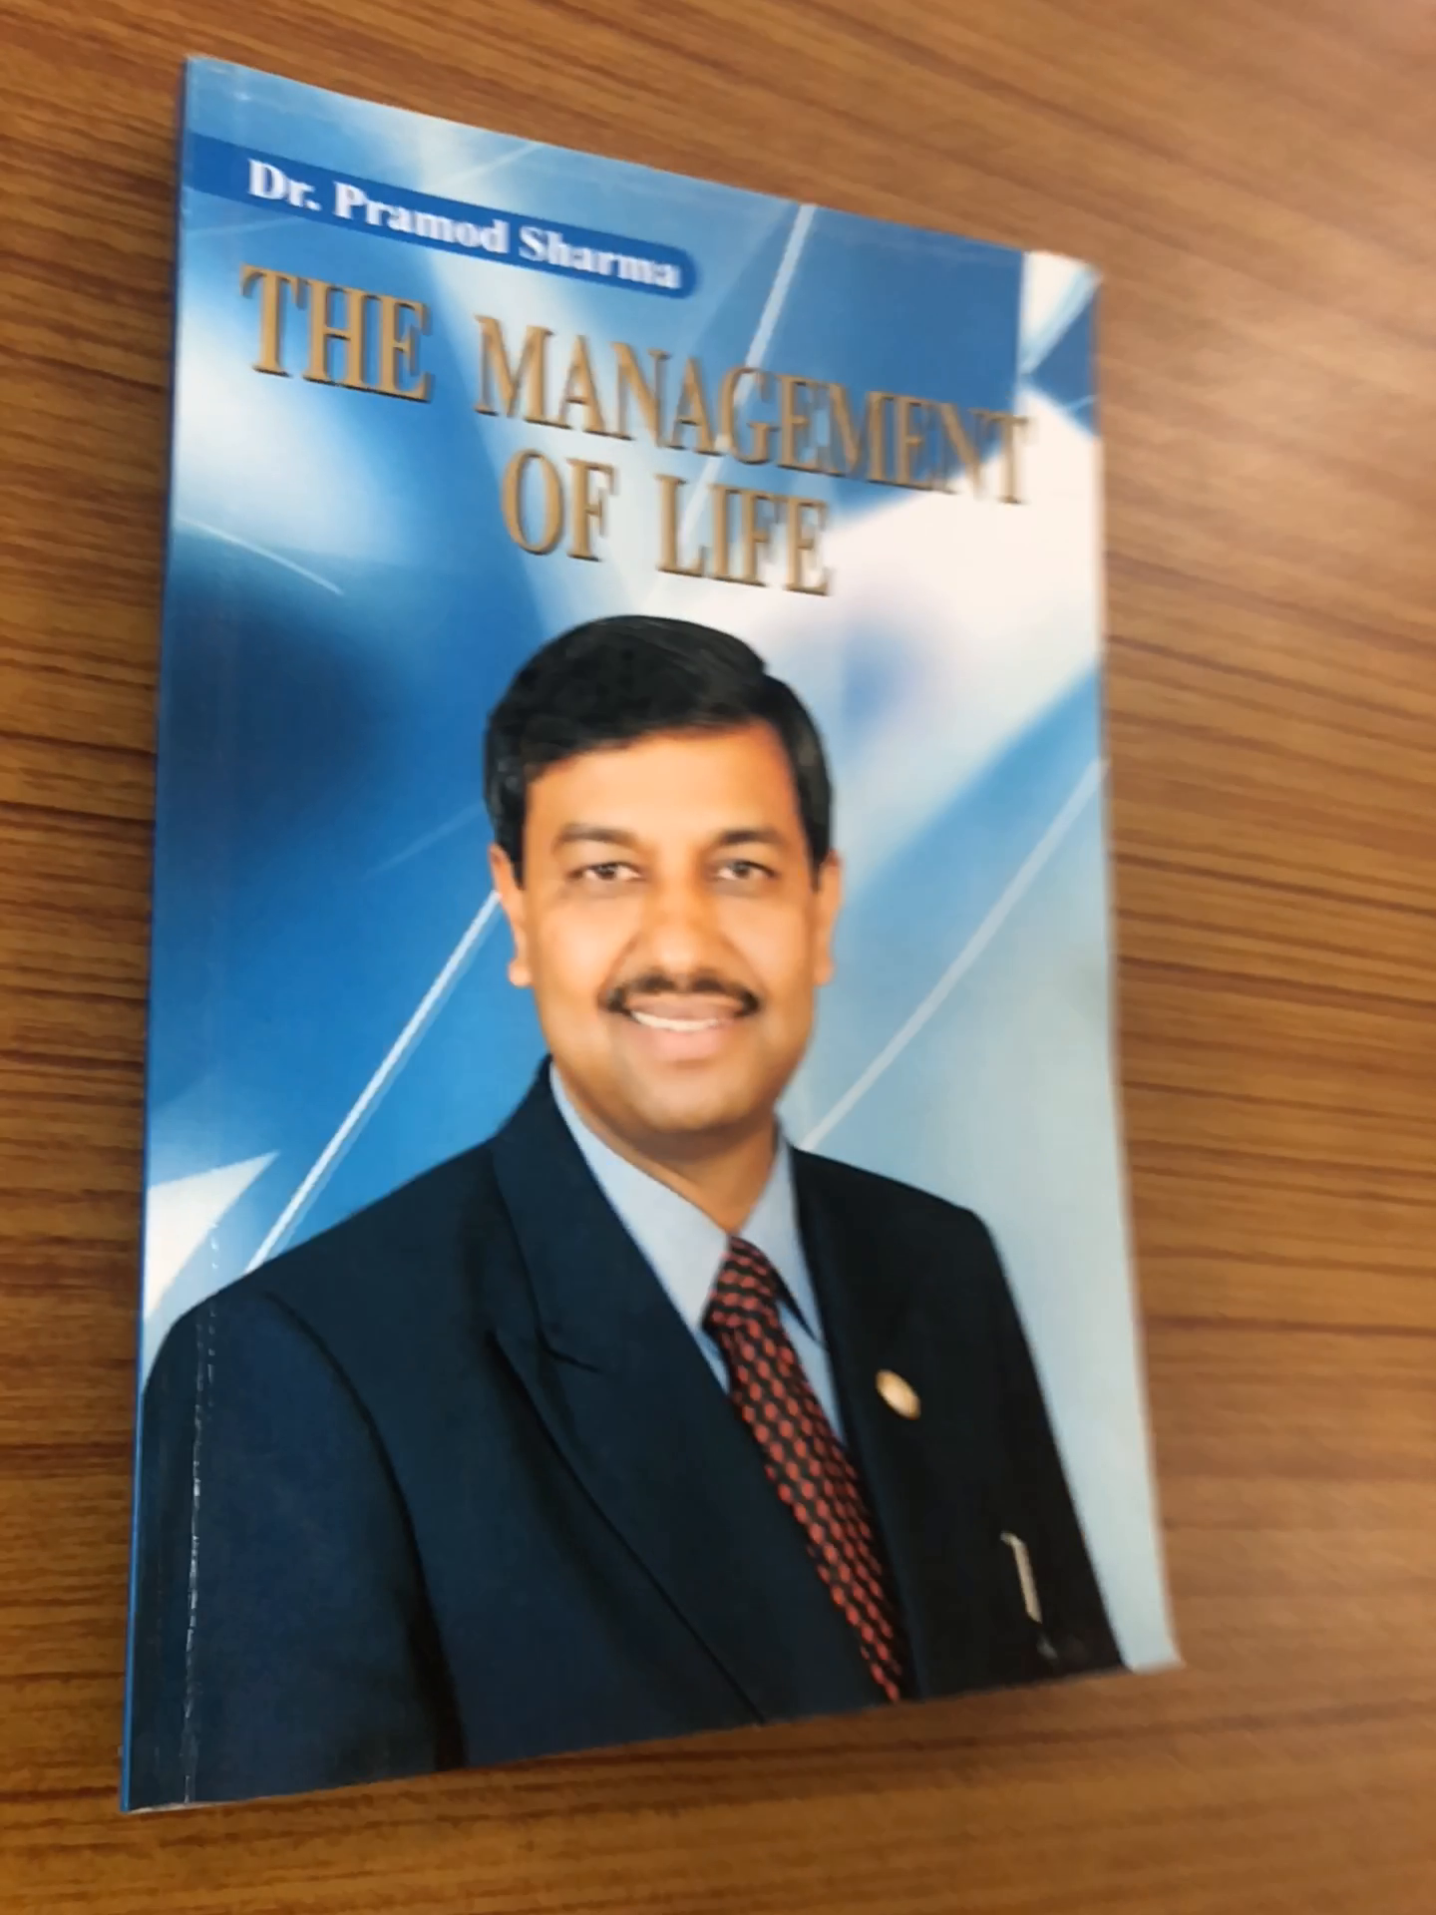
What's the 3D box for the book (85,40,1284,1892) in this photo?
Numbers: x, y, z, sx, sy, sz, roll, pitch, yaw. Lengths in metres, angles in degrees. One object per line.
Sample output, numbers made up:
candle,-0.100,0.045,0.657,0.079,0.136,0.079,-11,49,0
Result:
book,0.001,-0.004,0.218,0.150,0.020,0.210,2,80,-20
